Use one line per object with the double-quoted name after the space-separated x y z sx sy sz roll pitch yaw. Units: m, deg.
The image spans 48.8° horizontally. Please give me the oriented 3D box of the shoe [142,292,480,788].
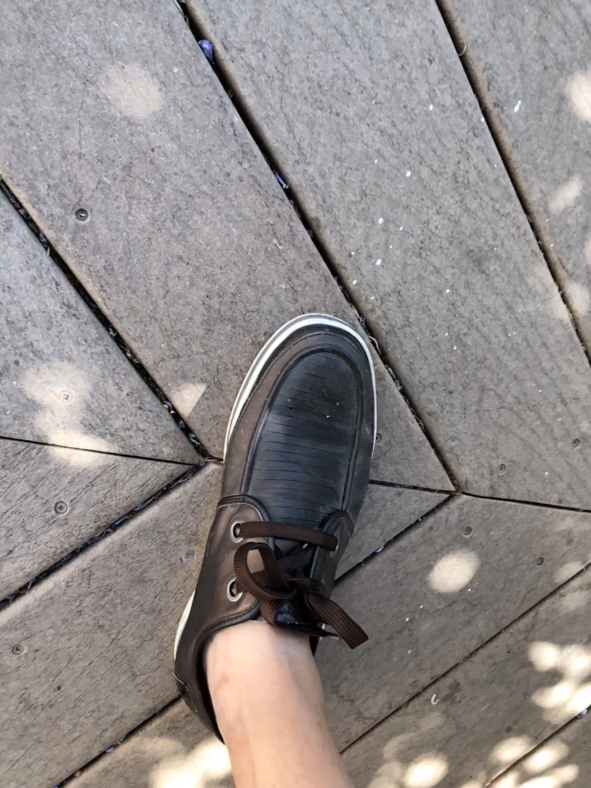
-0.003 0.095 0.410 0.107 0.096 0.289 14 100 -19 "shoe"
